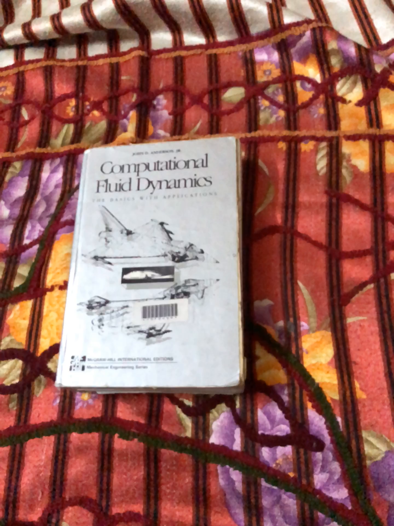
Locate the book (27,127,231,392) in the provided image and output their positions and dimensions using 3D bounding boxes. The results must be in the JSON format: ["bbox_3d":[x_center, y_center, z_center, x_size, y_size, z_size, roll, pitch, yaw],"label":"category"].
[{"bbox_3d":[-0.053,-0.004,0.398,0.158,0.047,0.229,-3,70,10],"label":"book"}]
